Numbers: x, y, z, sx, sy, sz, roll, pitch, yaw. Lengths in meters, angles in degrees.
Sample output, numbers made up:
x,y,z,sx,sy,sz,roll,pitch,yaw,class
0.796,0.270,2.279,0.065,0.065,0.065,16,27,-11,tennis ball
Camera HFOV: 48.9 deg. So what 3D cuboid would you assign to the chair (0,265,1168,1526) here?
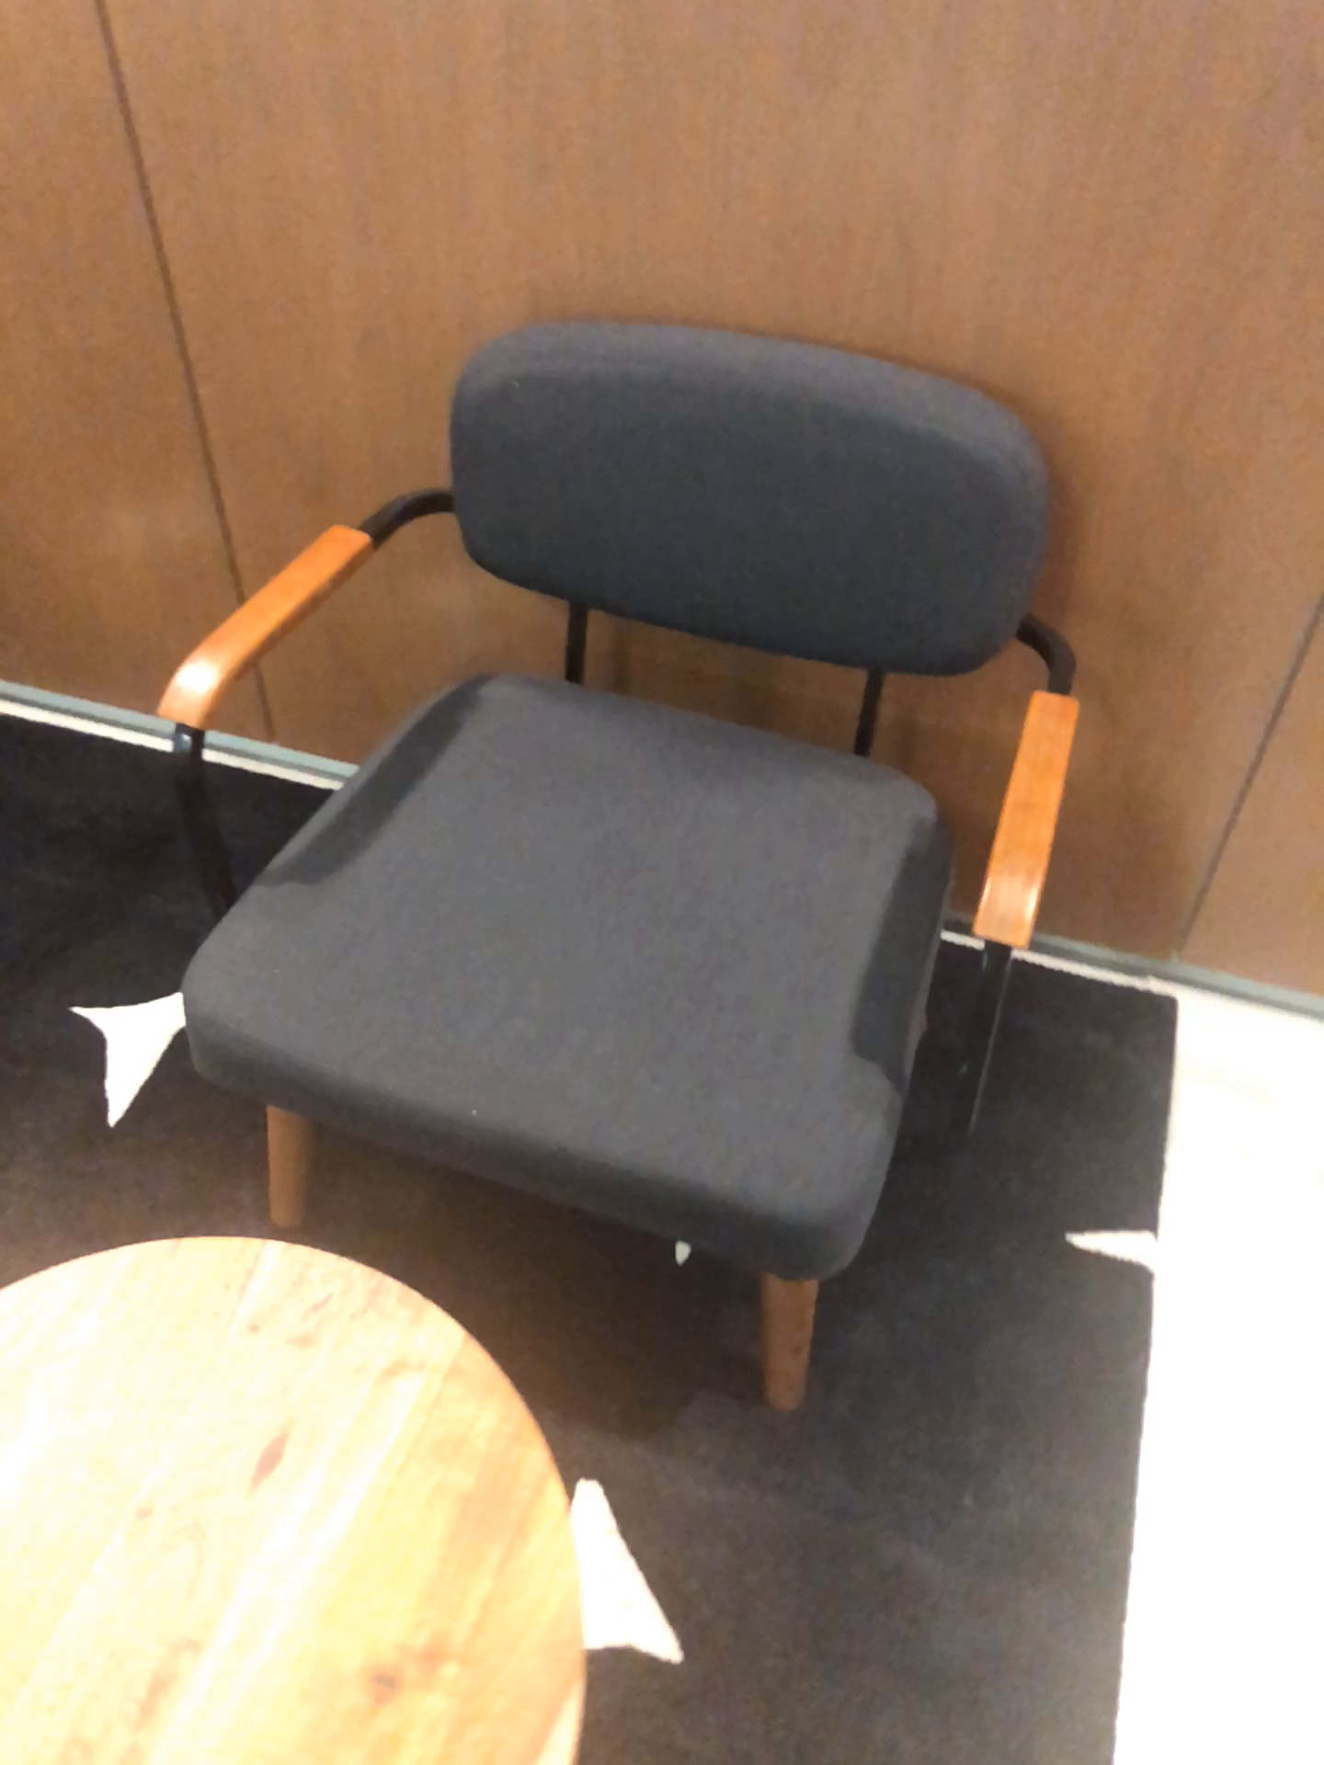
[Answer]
x,y,z,sx,sy,sz,roll,pitch,yaw,class
-0.021,-0.018,1.308,0.680,0.714,0.686,15,45,13,chair
